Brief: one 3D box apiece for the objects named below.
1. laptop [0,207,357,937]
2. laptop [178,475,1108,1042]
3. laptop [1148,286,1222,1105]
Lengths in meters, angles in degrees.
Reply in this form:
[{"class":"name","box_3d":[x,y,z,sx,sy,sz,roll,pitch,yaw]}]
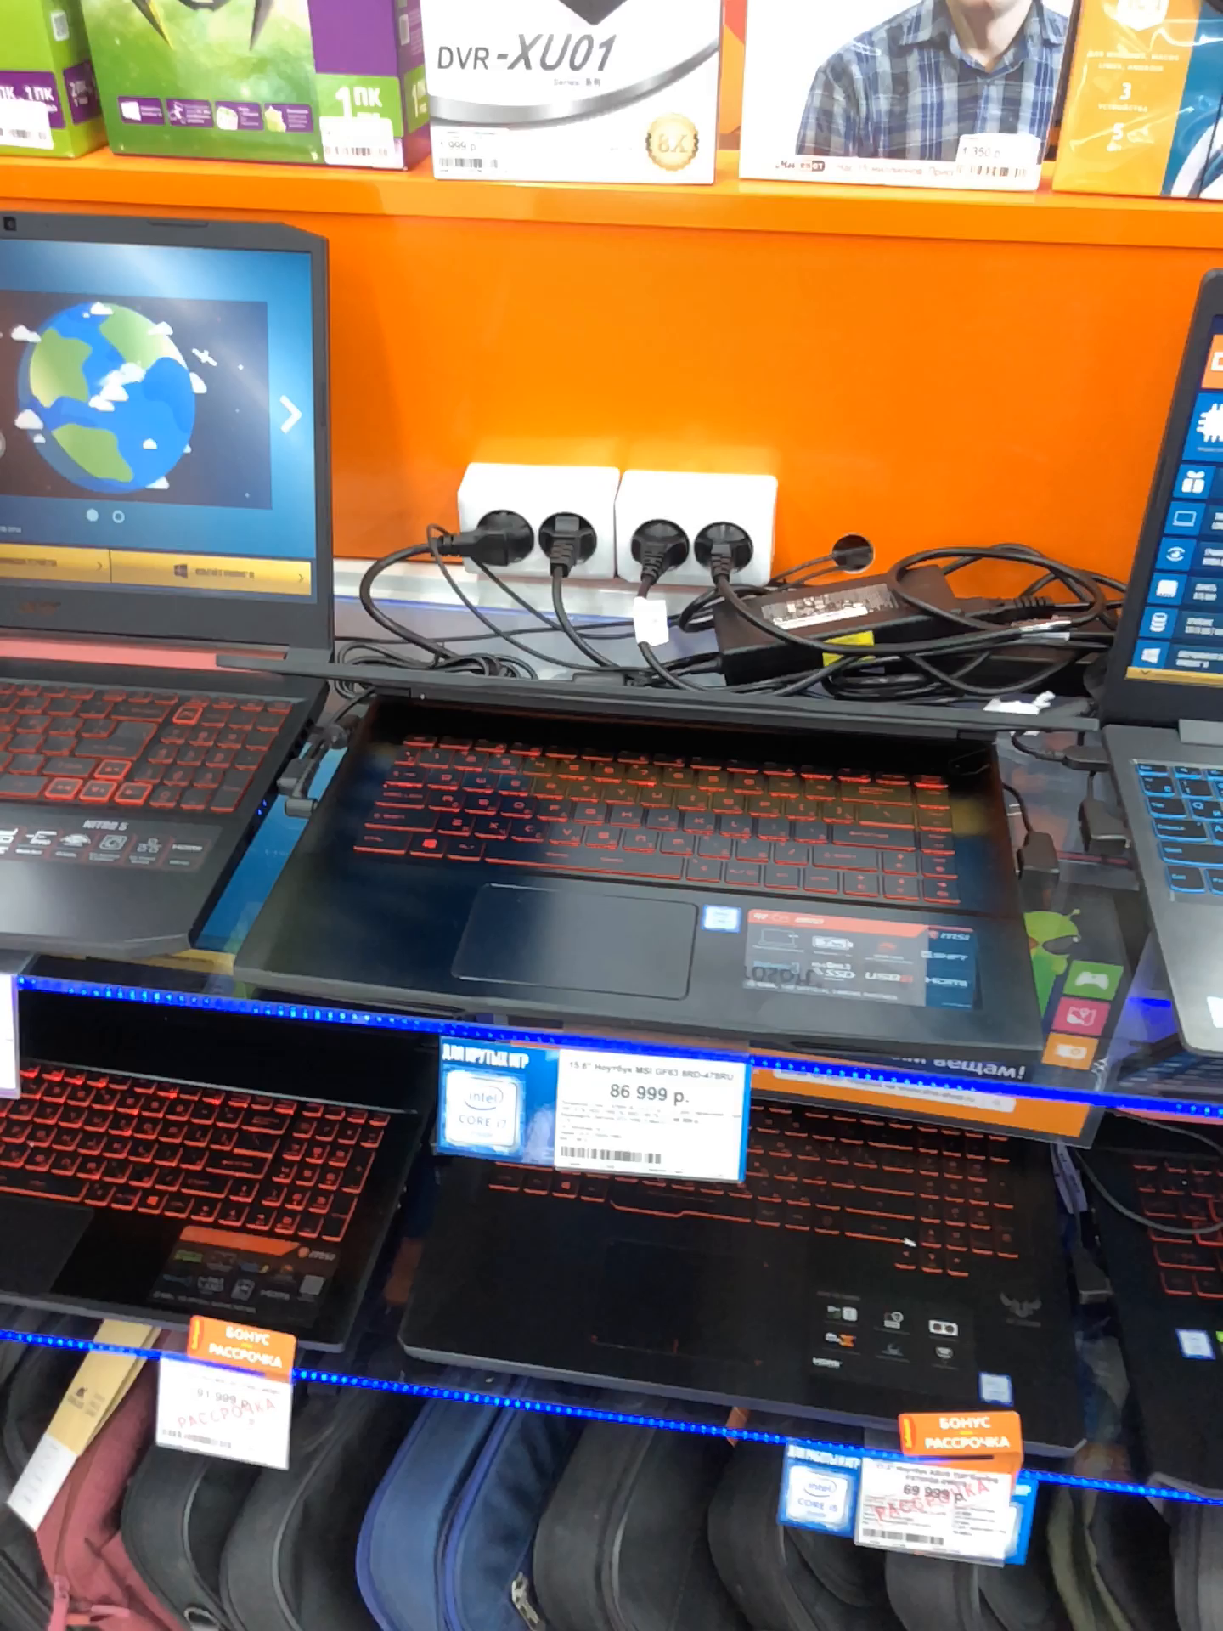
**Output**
[{"class":"laptop","box_3d":[-0.363,-0.148,0.692,0.365,0.225,0.331,4,37,5]},{"class":"laptop","box_3d":[0.021,-0.040,0.628,0.347,0.134,0.226,5,37,5]},{"class":"laptop","box_3d":[0.431,-0.069,0.573,0.326,0.228,0.279,6,37,11]}]
